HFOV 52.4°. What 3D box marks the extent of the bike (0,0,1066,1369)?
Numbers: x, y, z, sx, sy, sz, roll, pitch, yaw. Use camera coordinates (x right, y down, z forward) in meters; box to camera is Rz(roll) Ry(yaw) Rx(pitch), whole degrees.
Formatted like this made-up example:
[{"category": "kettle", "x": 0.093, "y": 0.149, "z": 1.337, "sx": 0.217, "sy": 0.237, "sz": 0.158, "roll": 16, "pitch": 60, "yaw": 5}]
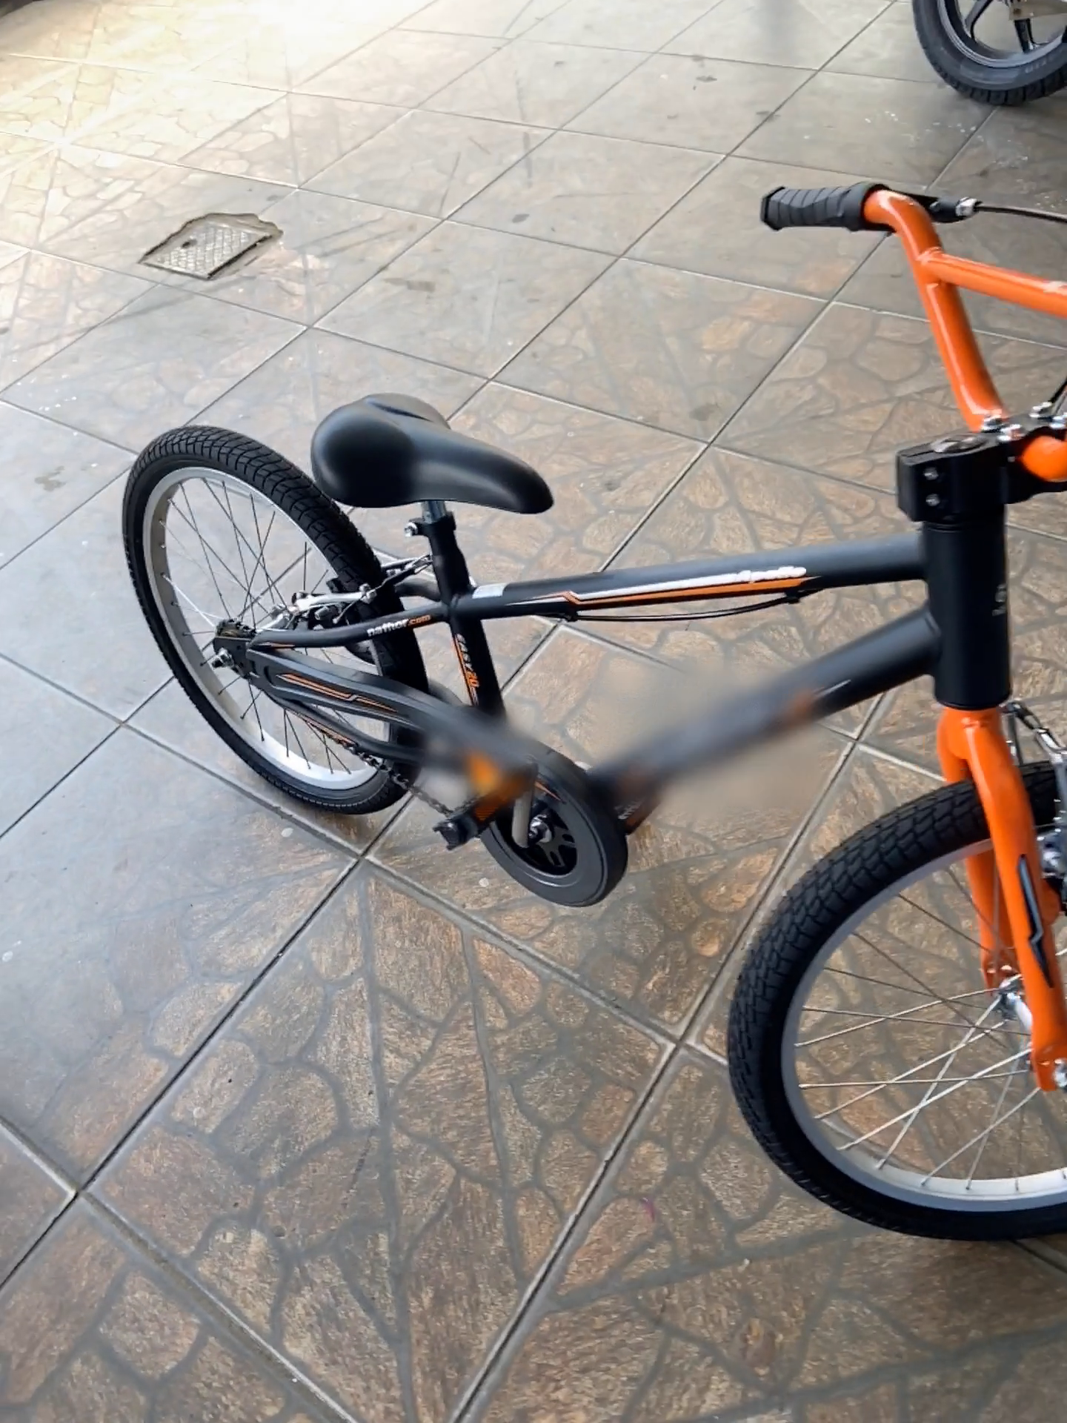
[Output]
[{"category": "bike", "x": 0.073, "y": -0.160, "z": 1.026, "sx": 1.351, "sy": 0.979, "sz": 0.726, "roll": 19, "pitch": 57, "yaw": 21}]
